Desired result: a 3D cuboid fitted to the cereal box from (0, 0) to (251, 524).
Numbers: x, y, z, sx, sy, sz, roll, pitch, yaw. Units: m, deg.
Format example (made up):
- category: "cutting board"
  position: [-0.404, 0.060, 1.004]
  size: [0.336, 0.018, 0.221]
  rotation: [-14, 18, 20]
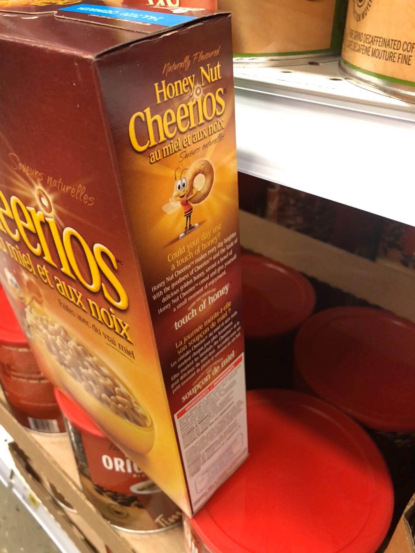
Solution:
- category: "cereal box"
  position: [-0.073, -0.005, 0.293]
  size: [0.201, 0.289, 0.060]
  rotation: [28, 48, 36]
